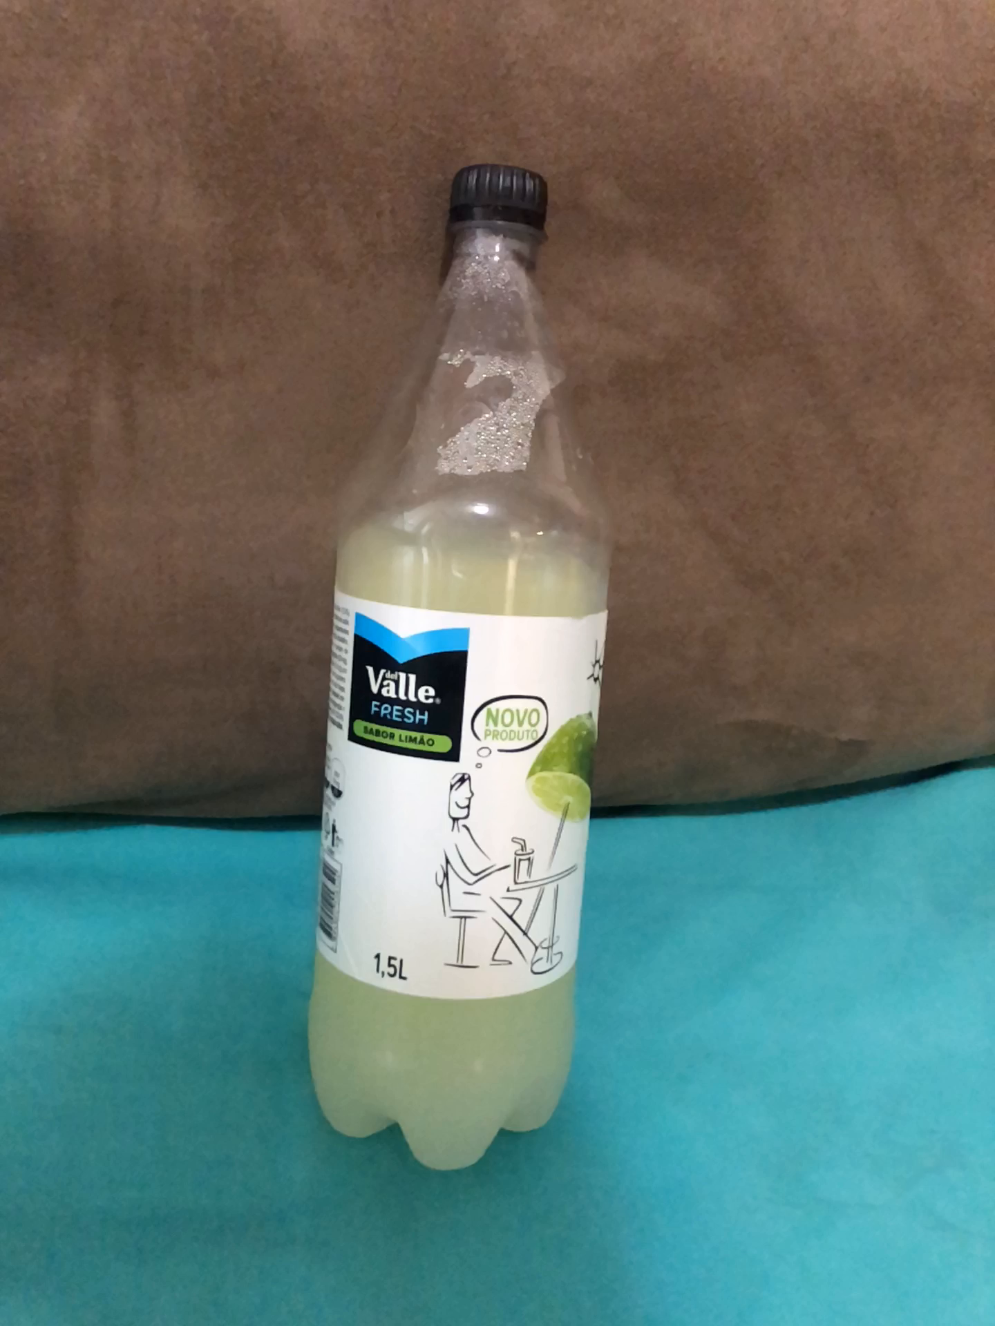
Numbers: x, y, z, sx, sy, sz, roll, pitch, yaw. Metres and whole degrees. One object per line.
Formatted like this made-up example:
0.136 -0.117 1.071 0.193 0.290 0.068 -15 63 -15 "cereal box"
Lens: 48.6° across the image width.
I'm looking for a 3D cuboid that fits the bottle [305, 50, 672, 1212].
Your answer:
-0.009 -0.010 0.372 0.100 0.330 0.100 1 -1 0 "bottle"
